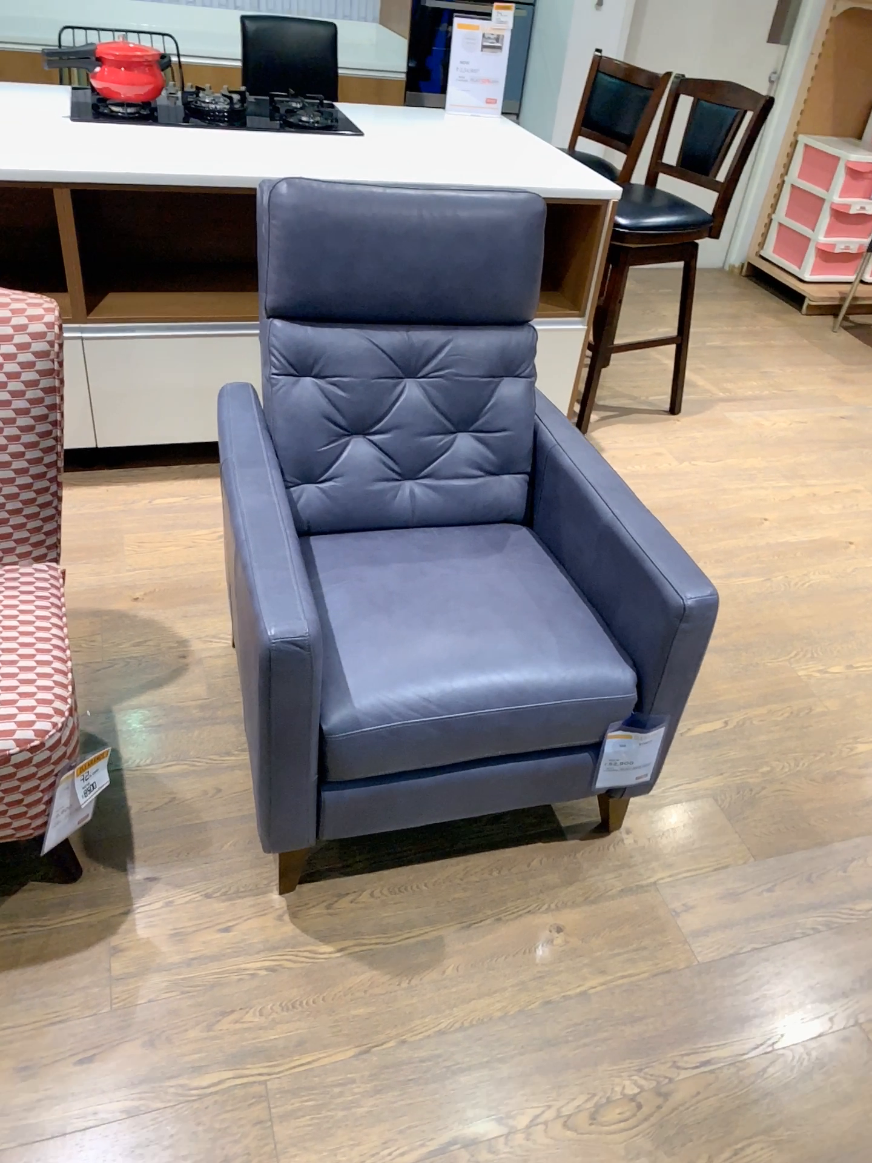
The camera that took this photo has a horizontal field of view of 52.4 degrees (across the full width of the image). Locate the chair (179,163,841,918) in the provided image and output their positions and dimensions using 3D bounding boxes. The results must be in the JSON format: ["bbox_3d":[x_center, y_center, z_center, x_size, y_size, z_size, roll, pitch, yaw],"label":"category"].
[{"bbox_3d":[-0.019,-0.114,1.638,0.771,0.996,0.853,-5,38,-16],"label":"chair"}]
